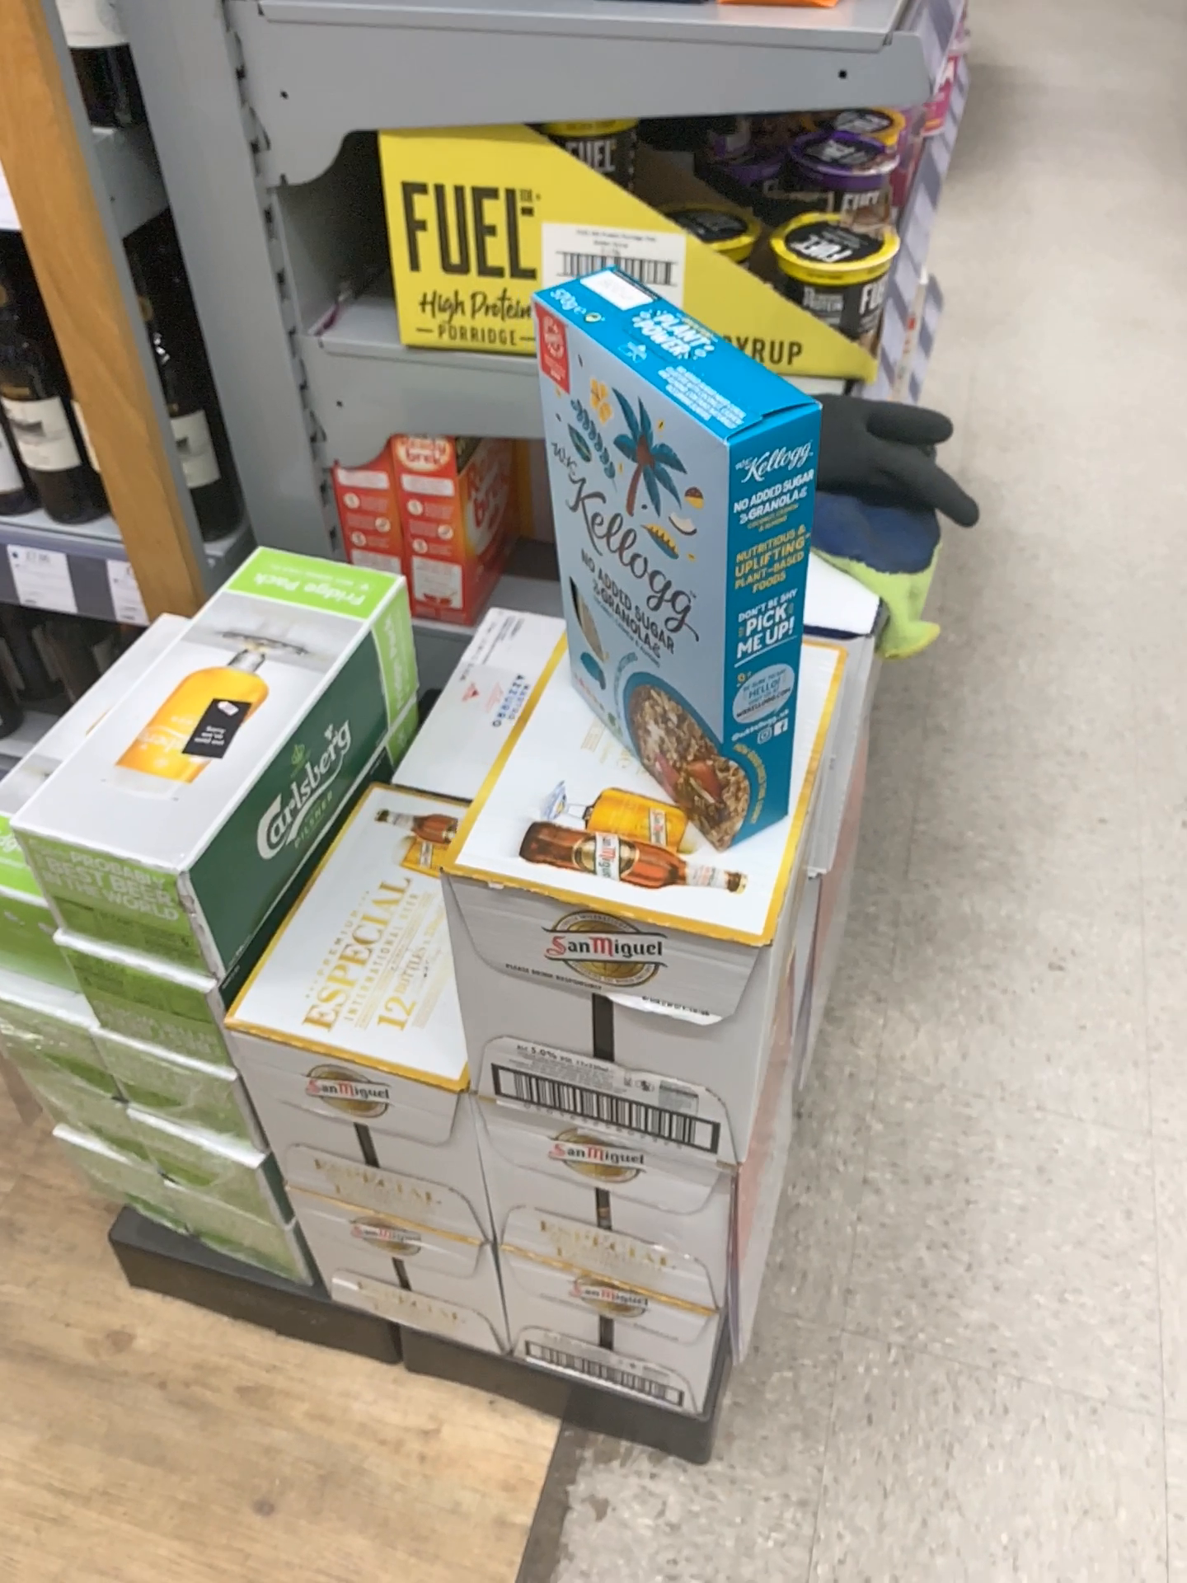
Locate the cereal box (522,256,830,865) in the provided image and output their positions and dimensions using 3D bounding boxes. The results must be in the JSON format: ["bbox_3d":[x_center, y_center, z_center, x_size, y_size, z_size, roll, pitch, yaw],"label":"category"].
[{"bbox_3d":[0.038,-0.106,0.602,0.050,0.248,0.161,-25,49,-17],"label":"cereal box"}]
